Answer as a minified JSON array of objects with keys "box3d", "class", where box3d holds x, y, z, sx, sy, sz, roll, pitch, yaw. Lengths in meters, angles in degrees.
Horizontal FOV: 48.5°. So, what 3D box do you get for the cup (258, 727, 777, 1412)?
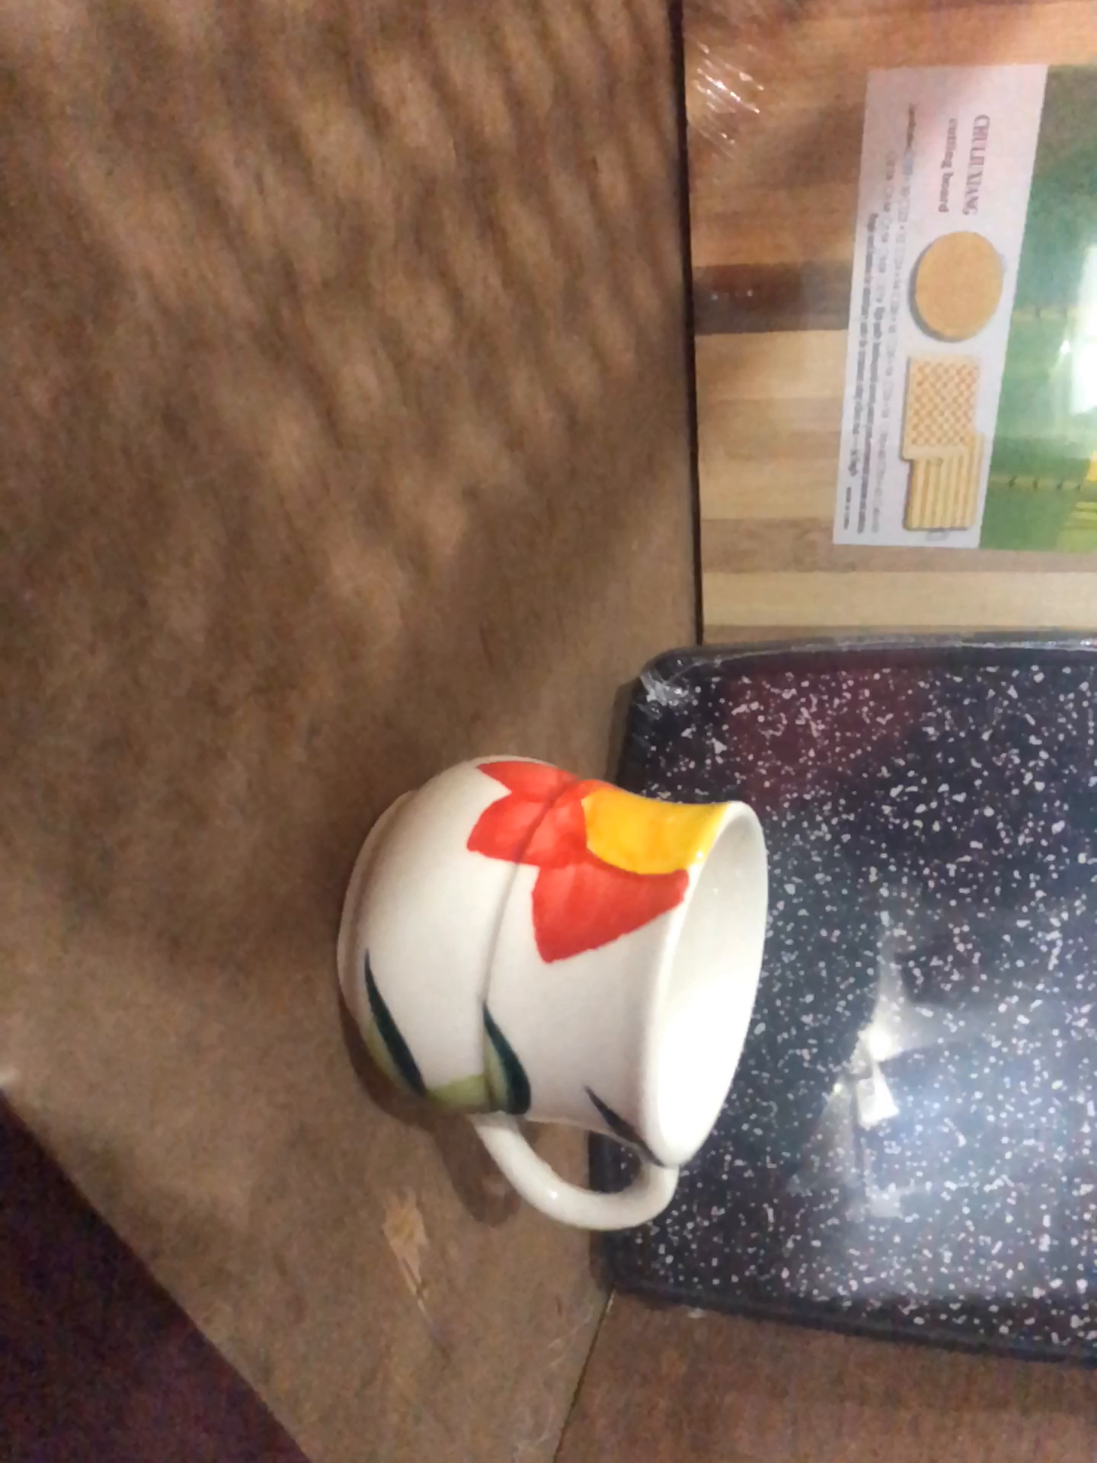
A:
[{"box3d":[0.002,0.057,0.214,0.060,0.060,0.090,-53,143,-48],"class":"cup"}]
